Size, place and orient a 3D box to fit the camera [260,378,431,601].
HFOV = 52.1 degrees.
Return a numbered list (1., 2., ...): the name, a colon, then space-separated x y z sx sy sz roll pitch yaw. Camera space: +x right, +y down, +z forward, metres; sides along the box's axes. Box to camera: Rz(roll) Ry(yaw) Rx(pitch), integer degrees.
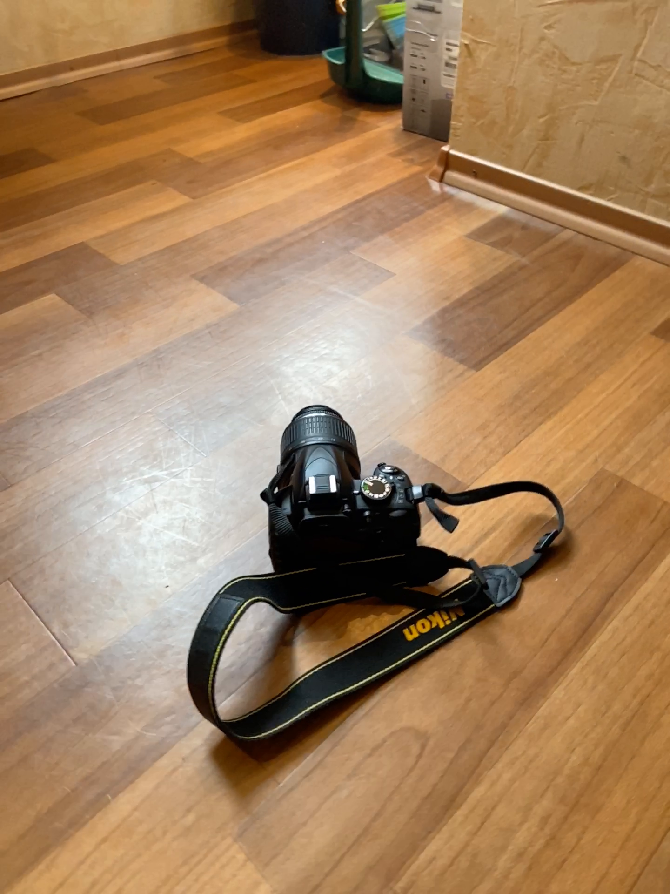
1. camera: 0.003 0.032 0.589 0.120 0.100 0.154 -5 43 -4
